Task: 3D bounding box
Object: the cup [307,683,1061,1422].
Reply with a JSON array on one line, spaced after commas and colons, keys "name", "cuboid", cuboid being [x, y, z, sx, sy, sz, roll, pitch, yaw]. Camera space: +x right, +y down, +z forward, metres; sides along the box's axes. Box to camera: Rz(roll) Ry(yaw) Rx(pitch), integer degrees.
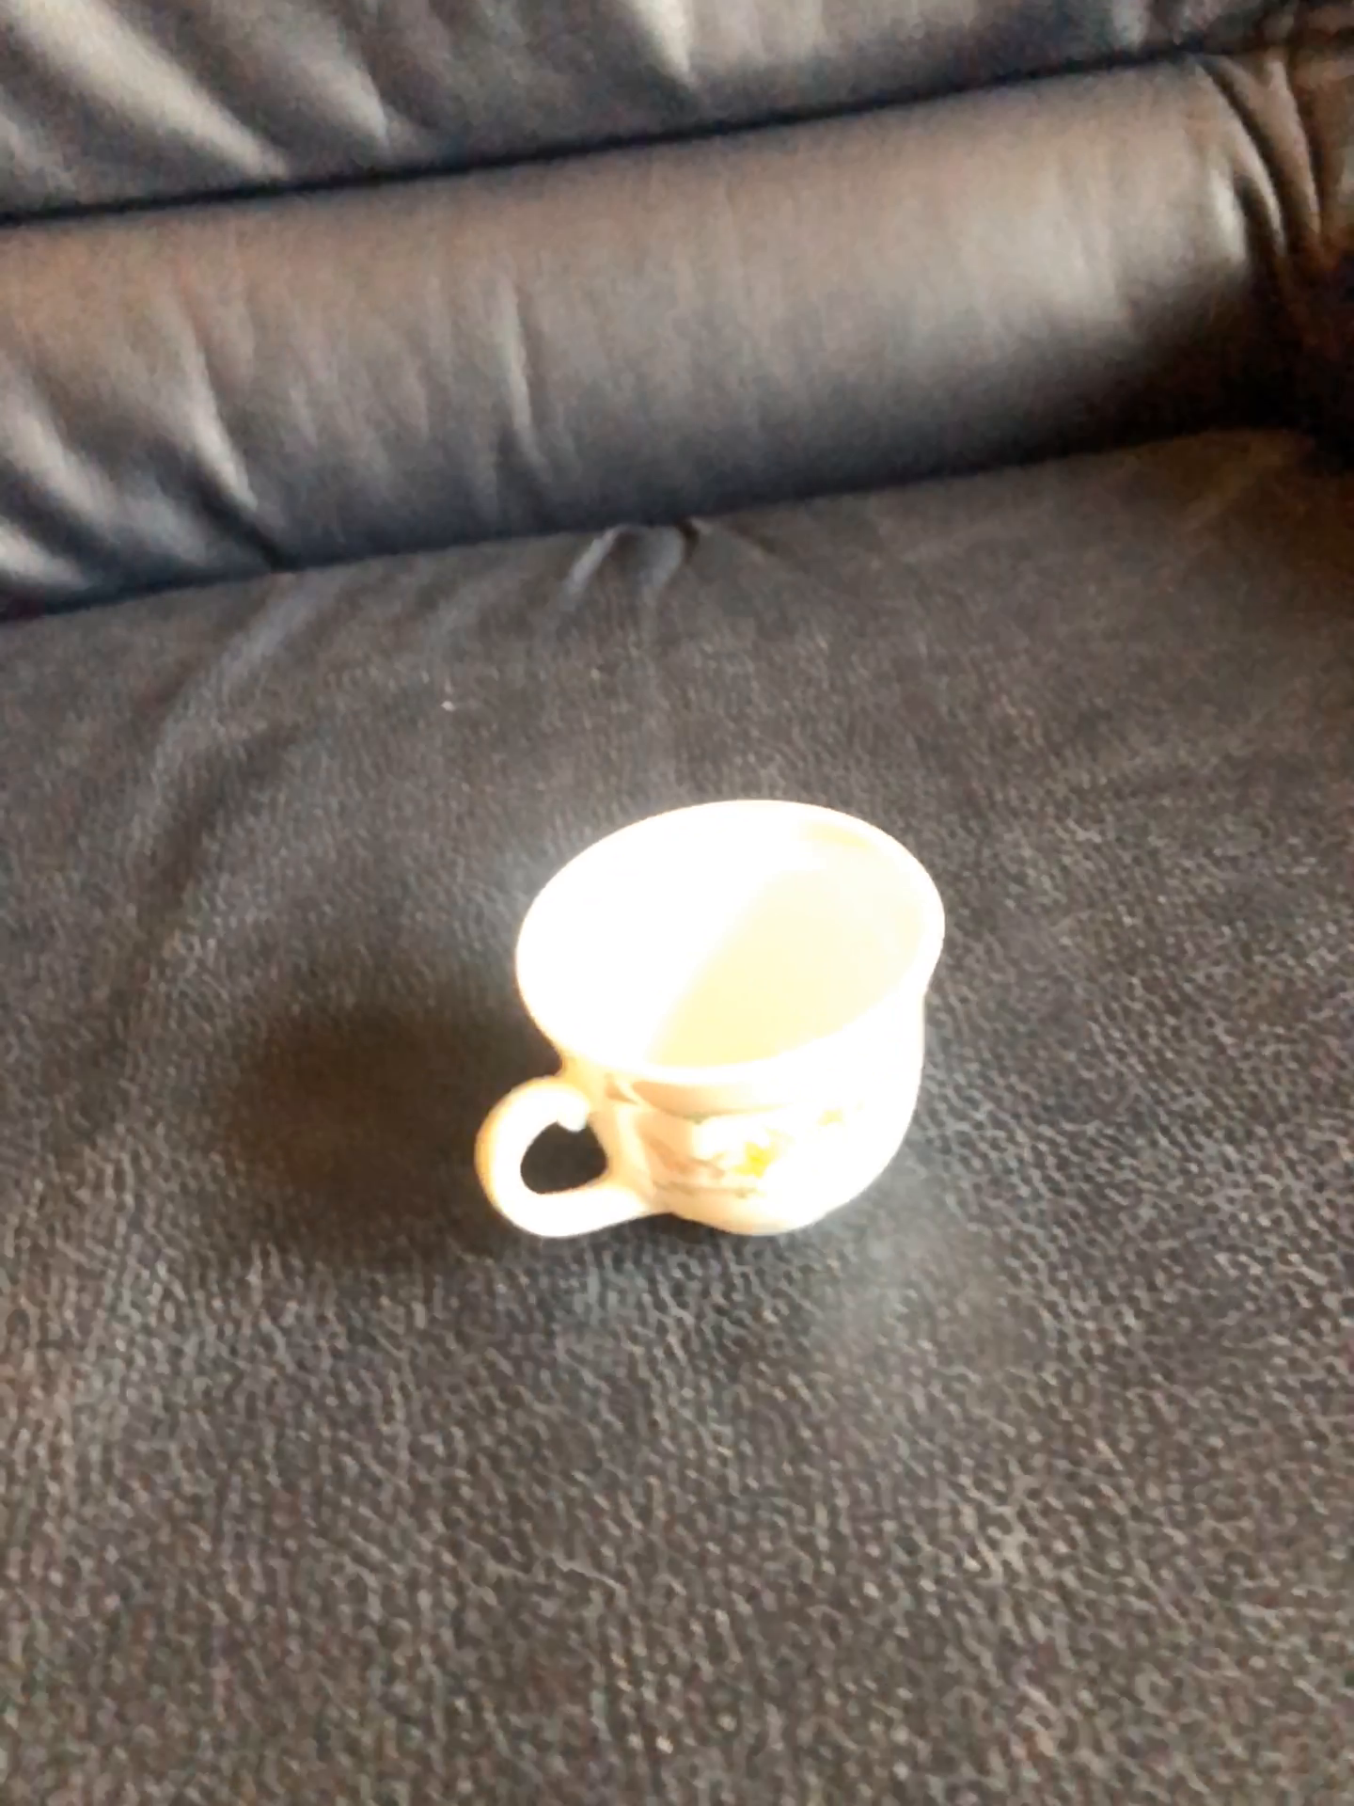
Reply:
[{"name": "cup", "cuboid": [0.003, 0.017, 0.231, 0.084, 0.050, 0.069, -33, 45, -27]}]
